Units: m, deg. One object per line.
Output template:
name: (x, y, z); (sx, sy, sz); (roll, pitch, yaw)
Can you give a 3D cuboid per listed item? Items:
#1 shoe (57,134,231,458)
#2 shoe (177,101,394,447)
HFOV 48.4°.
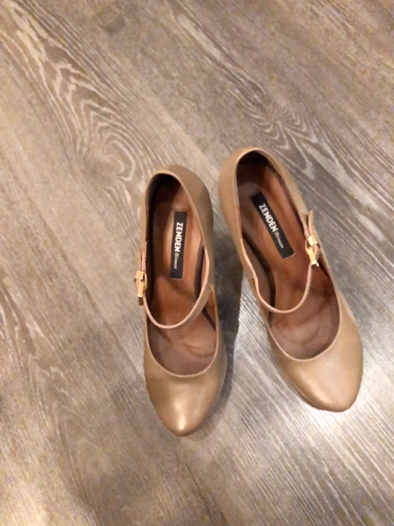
shoe: (-0.026, 0.032, 0.369); (0.090, 0.150, 0.220); (-1, 73, 10)
shoe: (0.076, 0.017, 0.354); (0.090, 0.160, 0.210); (-22, 70, 3)
